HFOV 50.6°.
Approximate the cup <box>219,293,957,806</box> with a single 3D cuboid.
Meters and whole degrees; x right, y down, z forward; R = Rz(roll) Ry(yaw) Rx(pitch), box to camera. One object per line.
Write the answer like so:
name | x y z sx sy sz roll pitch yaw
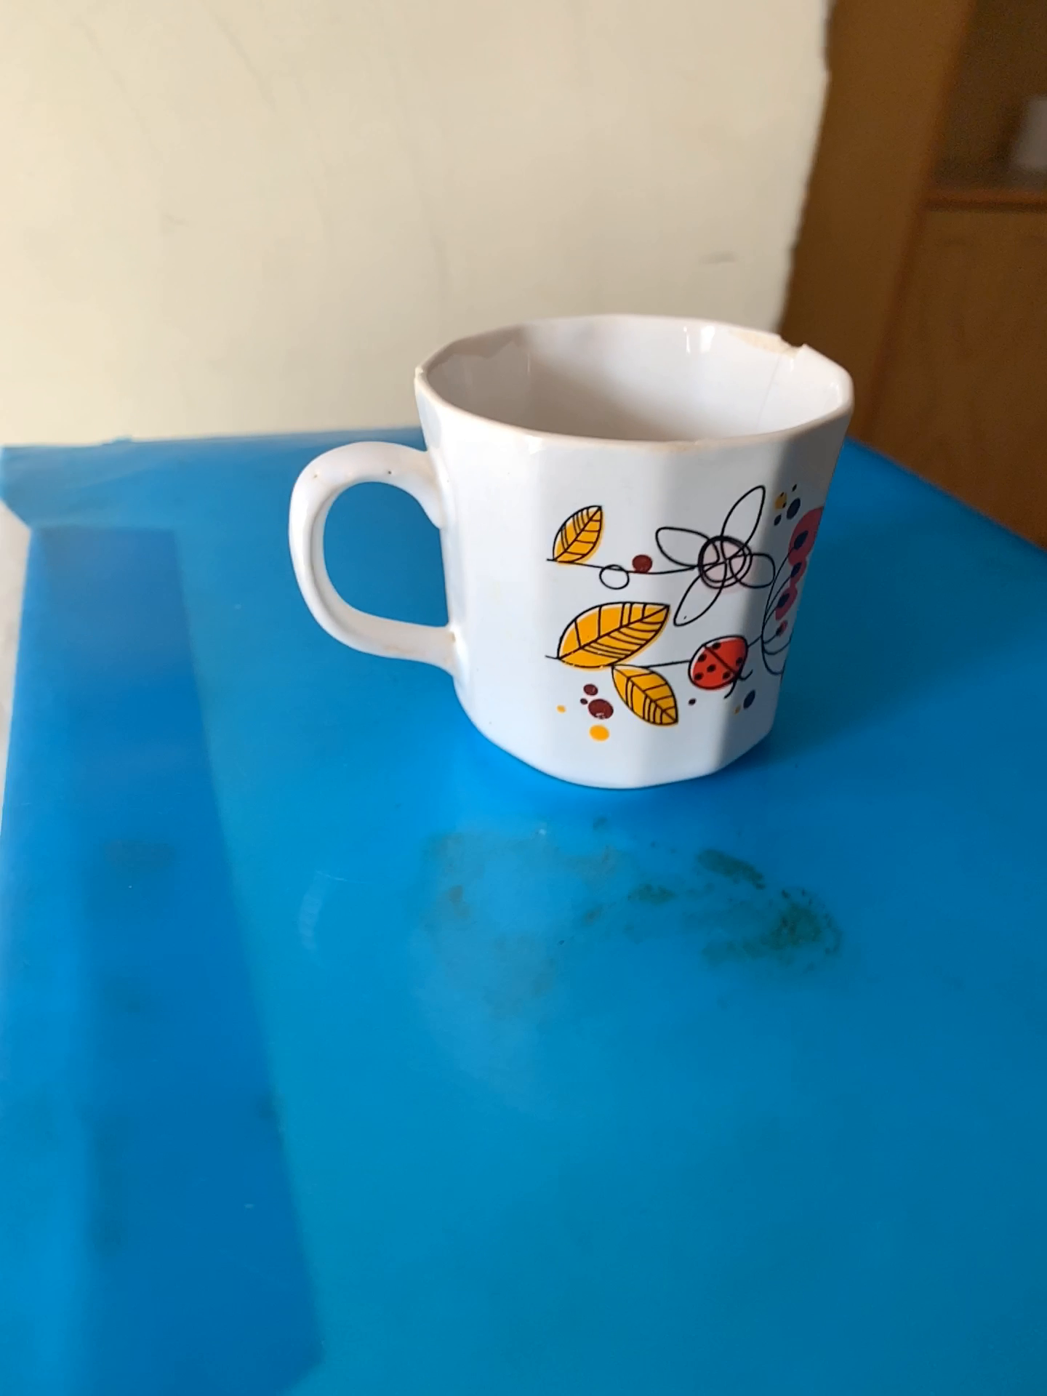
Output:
cup | 0.004 -0.029 0.191 0.100 0.060 0.071 -1 32 -10
